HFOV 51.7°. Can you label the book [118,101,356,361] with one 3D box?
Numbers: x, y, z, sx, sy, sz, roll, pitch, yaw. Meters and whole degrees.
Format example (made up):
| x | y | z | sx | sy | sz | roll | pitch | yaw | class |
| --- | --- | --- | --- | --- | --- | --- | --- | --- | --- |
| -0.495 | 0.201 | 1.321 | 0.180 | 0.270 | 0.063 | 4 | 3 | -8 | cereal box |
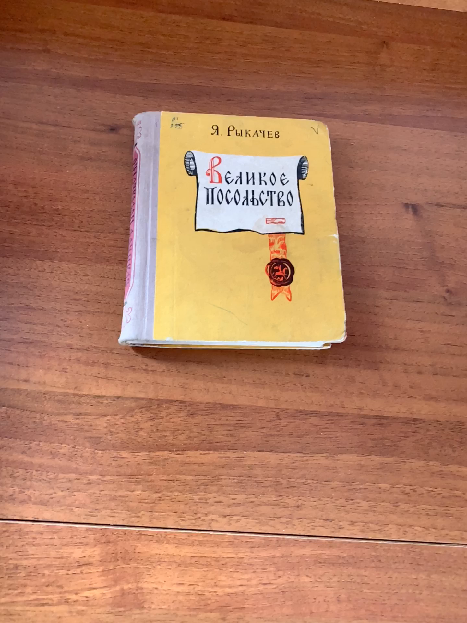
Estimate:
| x | y | z | sx | sy | sz | roll | pitch | yaw | class |
| --- | --- | --- | --- | --- | --- | --- | --- | --- | --- |
| 0.003 | -0.055 | 0.319 | 0.142 | 0.023 | 0.171 | 2 | 74 | -6 | book |
